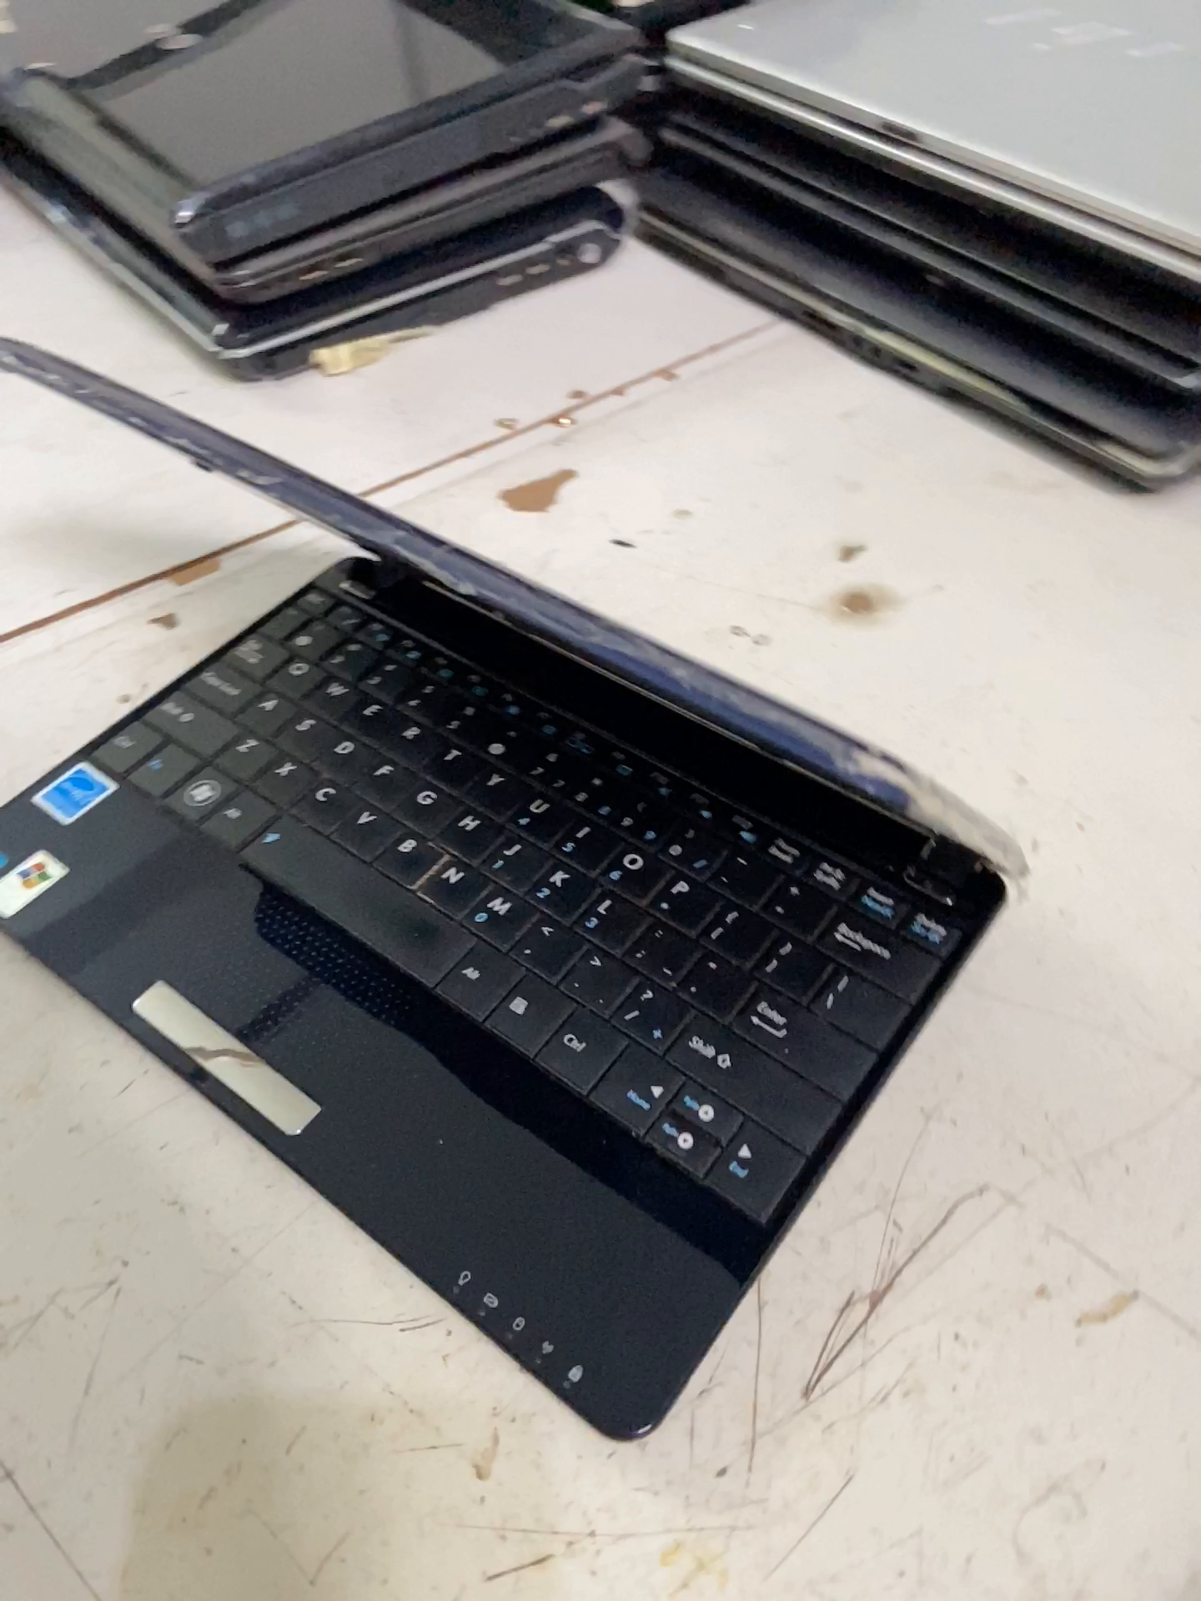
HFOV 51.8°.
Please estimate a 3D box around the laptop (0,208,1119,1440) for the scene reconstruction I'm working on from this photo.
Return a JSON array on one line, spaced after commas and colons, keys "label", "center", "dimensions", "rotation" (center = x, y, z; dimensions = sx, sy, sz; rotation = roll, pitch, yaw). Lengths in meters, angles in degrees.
[{"label": "laptop", "center": [-0.047, -0.020, 0.310], "dimensions": [0.259, 0.121, 0.170], "rotation": [29, 57, 26]}]
